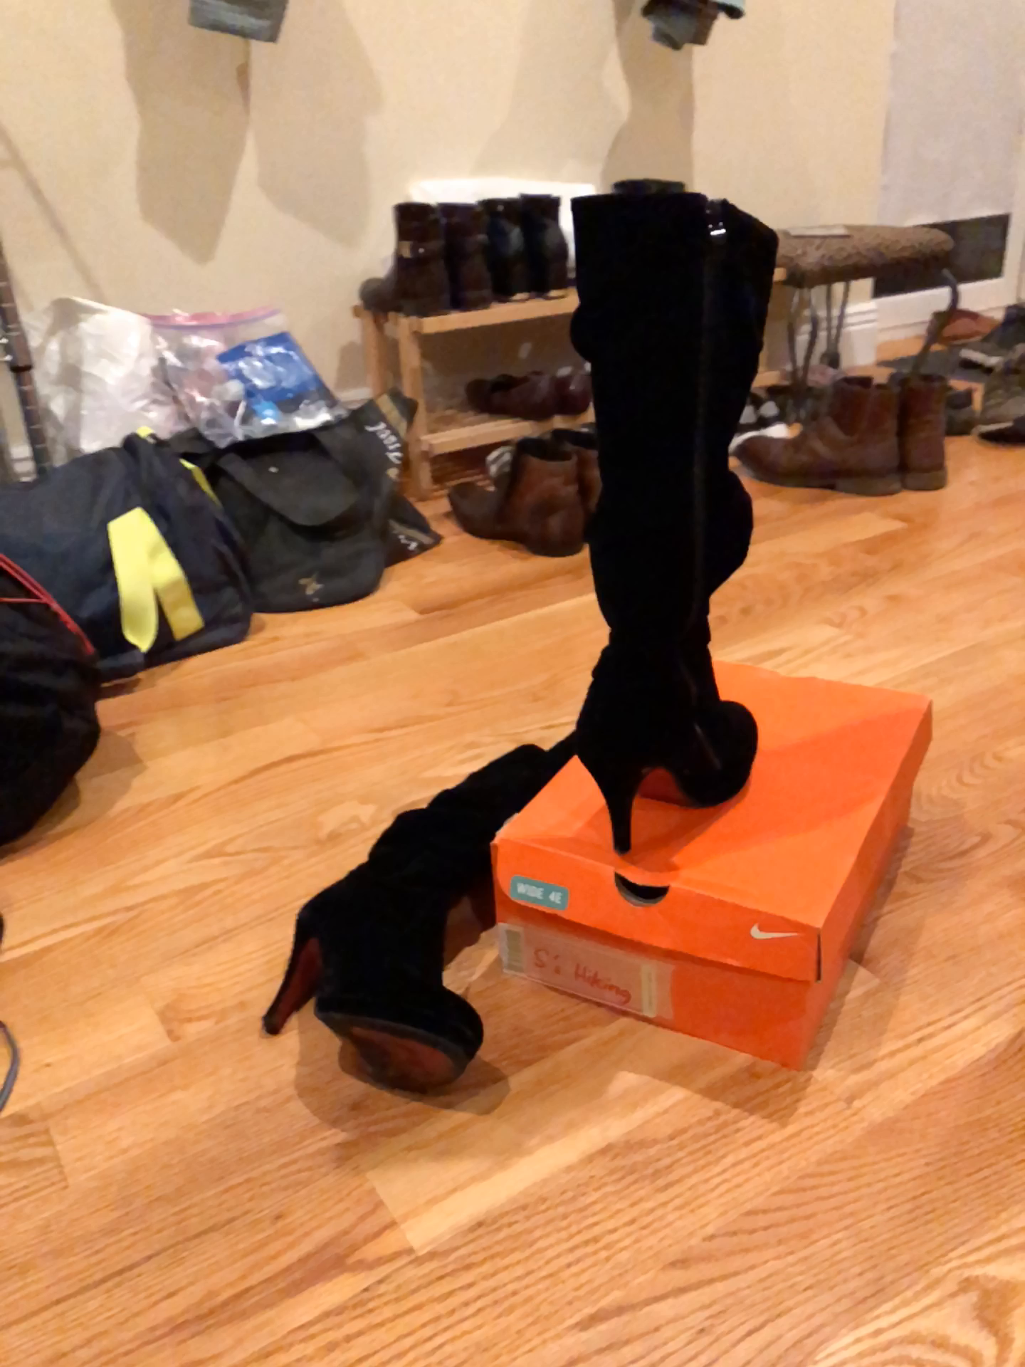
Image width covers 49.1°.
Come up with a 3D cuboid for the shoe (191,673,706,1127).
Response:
[{"bbox_3d":[-0.019,0.127,0.852,0.206,0.089,0.401,9,28,27],"label":"shoe"}]

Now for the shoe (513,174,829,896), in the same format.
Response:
[{"bbox_3d":[0.106,-0.099,0.714,0.089,0.397,0.217,14,30,31],"label":"shoe"}]
